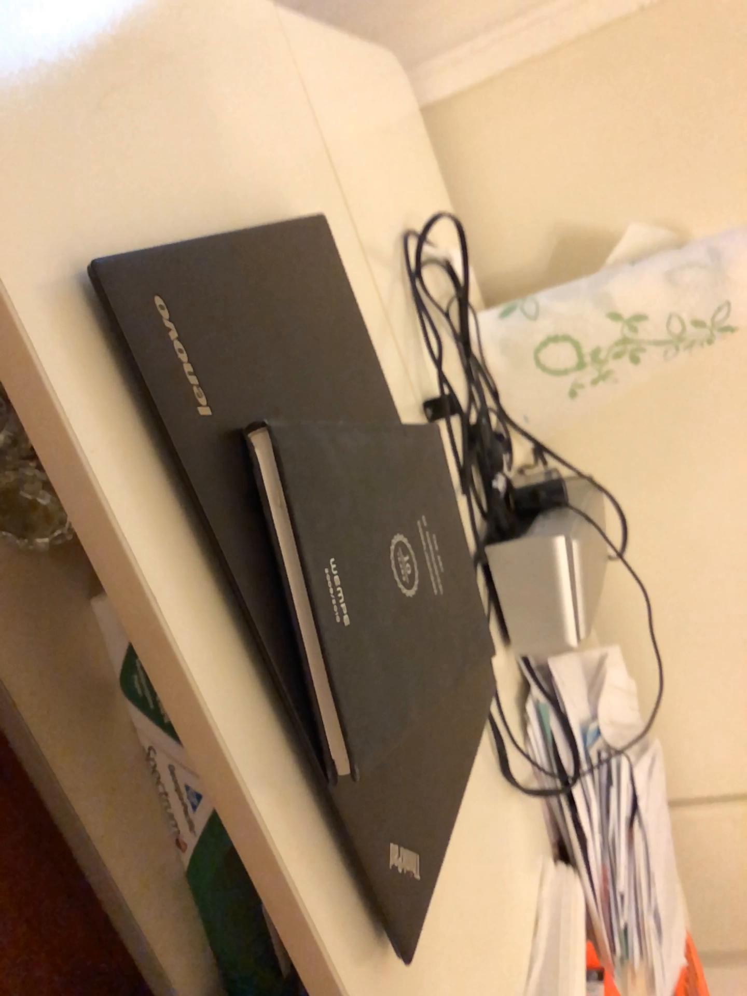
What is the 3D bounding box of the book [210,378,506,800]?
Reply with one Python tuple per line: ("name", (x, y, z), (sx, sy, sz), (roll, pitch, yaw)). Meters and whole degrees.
("book", (0.009, 0.029, 0.439), (0.221, 0.030, 0.170), (-12, 87, -67))
